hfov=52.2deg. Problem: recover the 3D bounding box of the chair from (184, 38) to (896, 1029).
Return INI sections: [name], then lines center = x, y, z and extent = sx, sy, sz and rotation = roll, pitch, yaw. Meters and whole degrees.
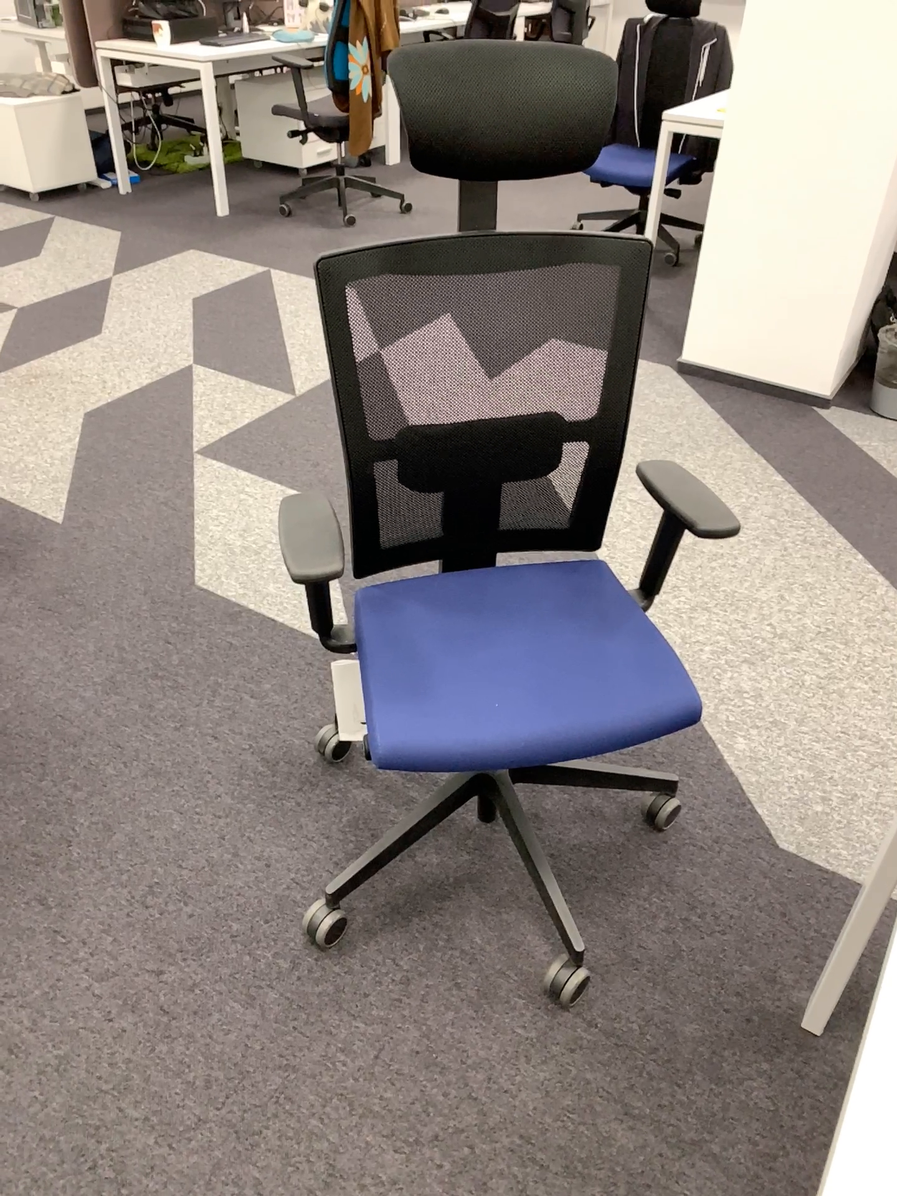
[chair]
center = 0.126, -0.049, 1.339
extent = 0.730, 1.243, 0.674
rotation = -2, 37, -5
